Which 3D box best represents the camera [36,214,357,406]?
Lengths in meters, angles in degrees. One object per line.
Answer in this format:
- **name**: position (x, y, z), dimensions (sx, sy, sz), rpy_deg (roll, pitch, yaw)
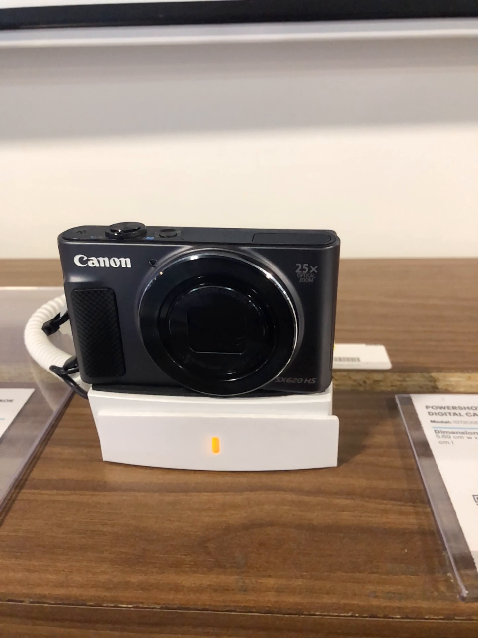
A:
- **camera**: position (-0.013, -0.004, 0.190), dimensions (0.100, 0.060, 0.030), rpy_deg (1, 23, 5)
